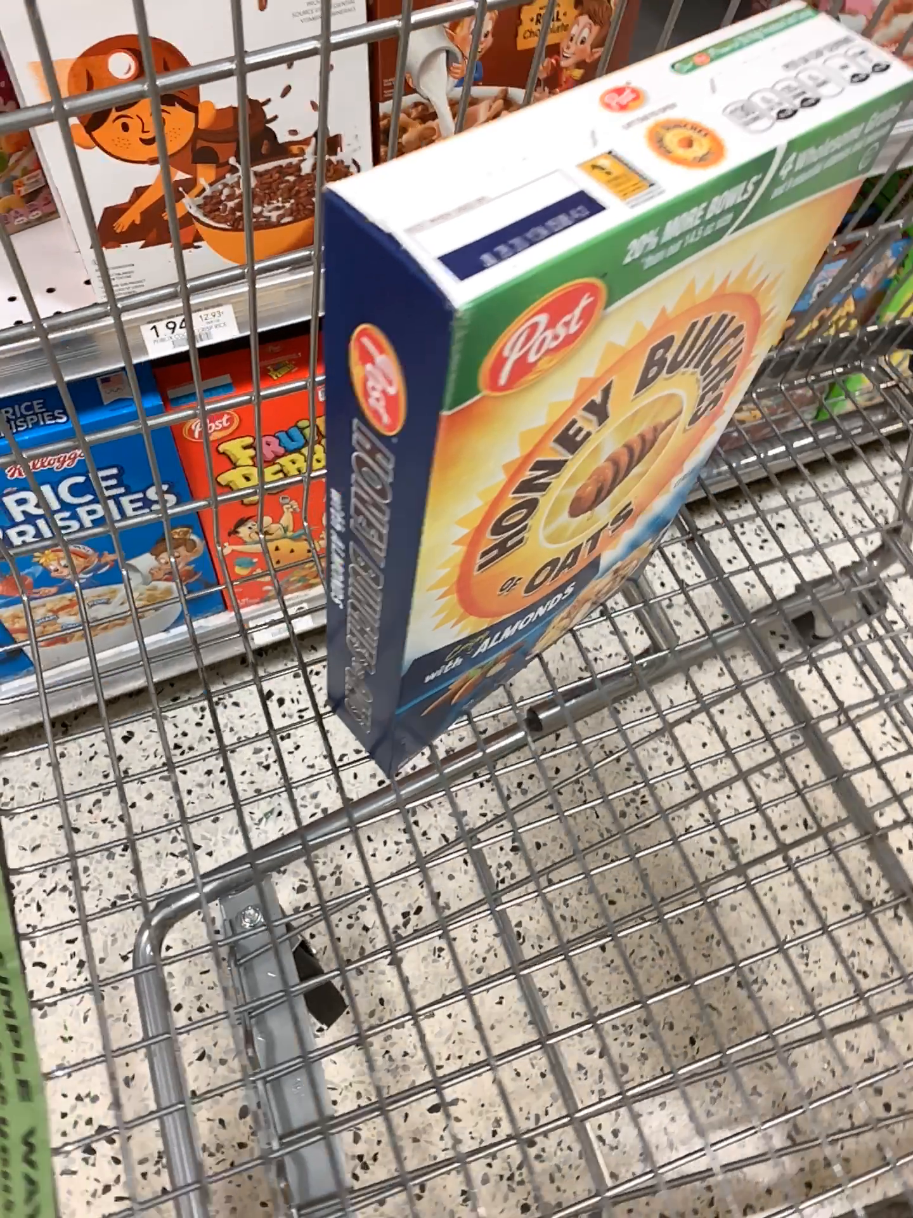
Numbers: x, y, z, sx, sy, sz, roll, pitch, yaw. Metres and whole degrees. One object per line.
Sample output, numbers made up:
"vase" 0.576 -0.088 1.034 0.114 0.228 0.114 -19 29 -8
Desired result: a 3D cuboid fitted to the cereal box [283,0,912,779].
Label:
"cereal box" 0.042 -0.063 0.387 0.211 0.308 0.060 -33 70 -22
